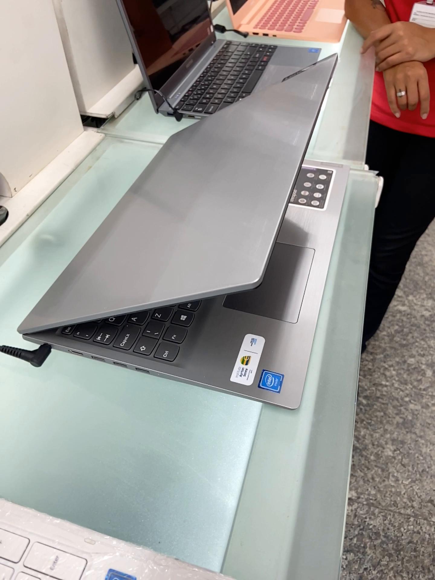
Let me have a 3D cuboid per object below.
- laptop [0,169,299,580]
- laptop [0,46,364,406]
[{"bbox_3d":[-0.220,0.201,0.103,0.383,0.202,0.412,13,48,14],"label":"laptop"},{"bbox_3d":[-0.009,-0.106,0.448,0.249,0.127,0.365,12,47,13],"label":"laptop"}]
